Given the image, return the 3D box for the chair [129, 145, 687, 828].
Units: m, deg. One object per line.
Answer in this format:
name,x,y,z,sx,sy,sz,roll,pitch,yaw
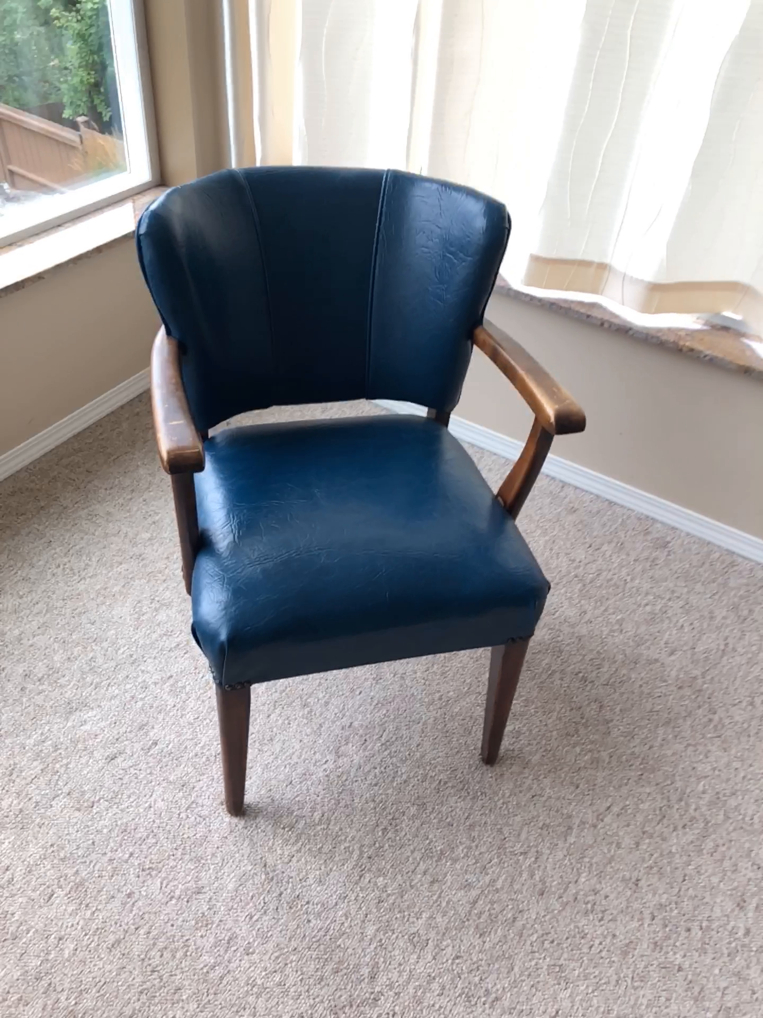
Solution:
chair,-0.044,-0.036,1.257,0.530,0.797,0.562,-7,43,-14
